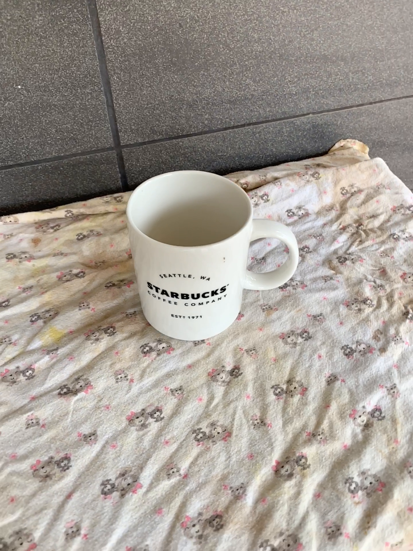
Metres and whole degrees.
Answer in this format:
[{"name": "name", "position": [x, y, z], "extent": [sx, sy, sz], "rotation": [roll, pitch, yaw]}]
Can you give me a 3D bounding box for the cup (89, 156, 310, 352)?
[{"name": "cup", "position": [-0.006, -0.014, 0.321], "extent": [0.130, 0.110, 0.090], "rotation": [-3, 48, -2]}]
